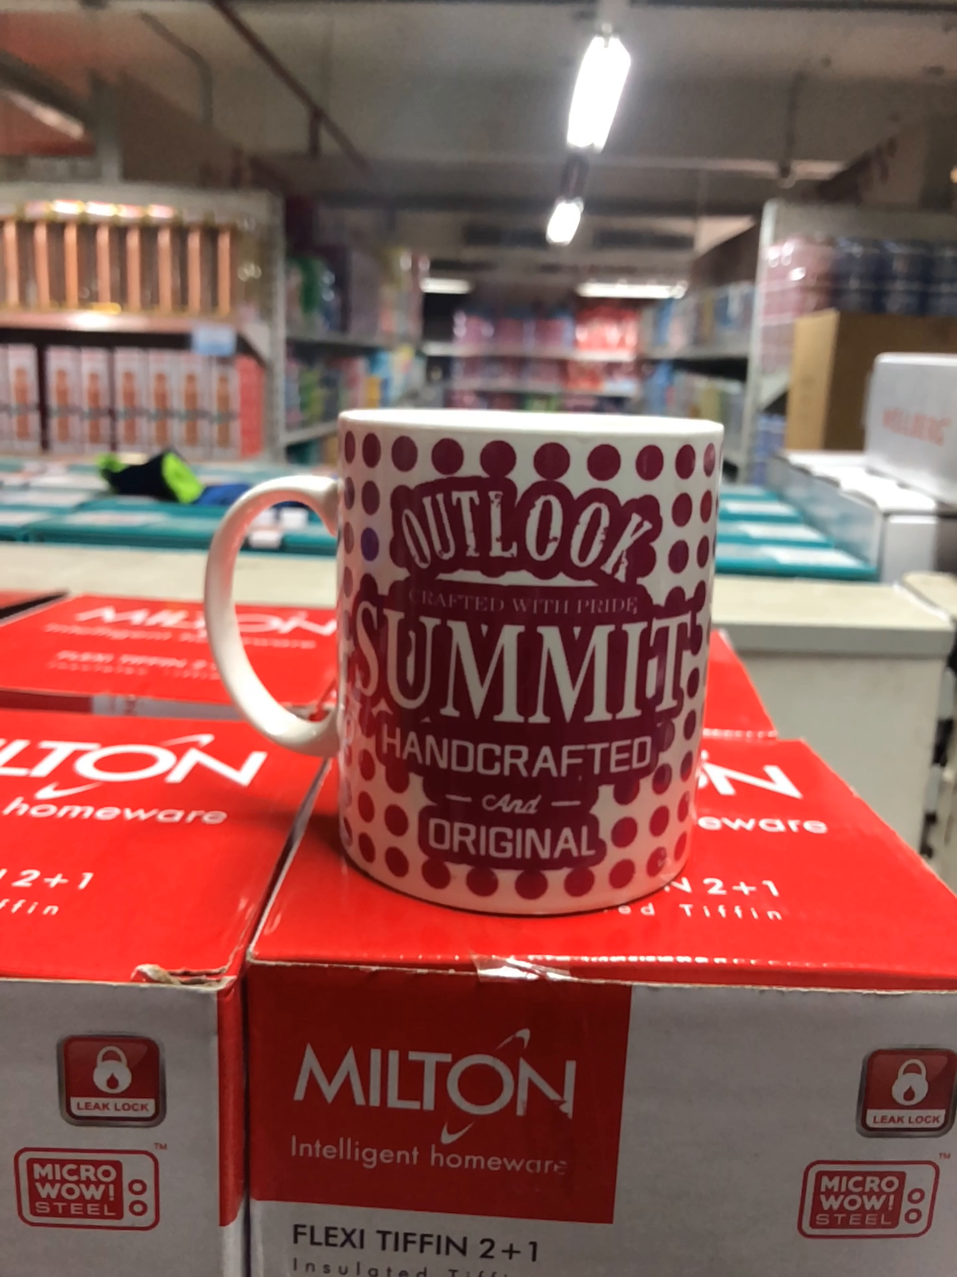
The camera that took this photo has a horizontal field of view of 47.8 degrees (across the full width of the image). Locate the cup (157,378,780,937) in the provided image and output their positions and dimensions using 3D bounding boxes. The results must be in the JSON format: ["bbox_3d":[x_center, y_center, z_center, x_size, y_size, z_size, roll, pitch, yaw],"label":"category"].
[{"bbox_3d":[-0.002,-0.003,0.241,0.110,0.100,0.080,3,14,3],"label":"cup"}]
